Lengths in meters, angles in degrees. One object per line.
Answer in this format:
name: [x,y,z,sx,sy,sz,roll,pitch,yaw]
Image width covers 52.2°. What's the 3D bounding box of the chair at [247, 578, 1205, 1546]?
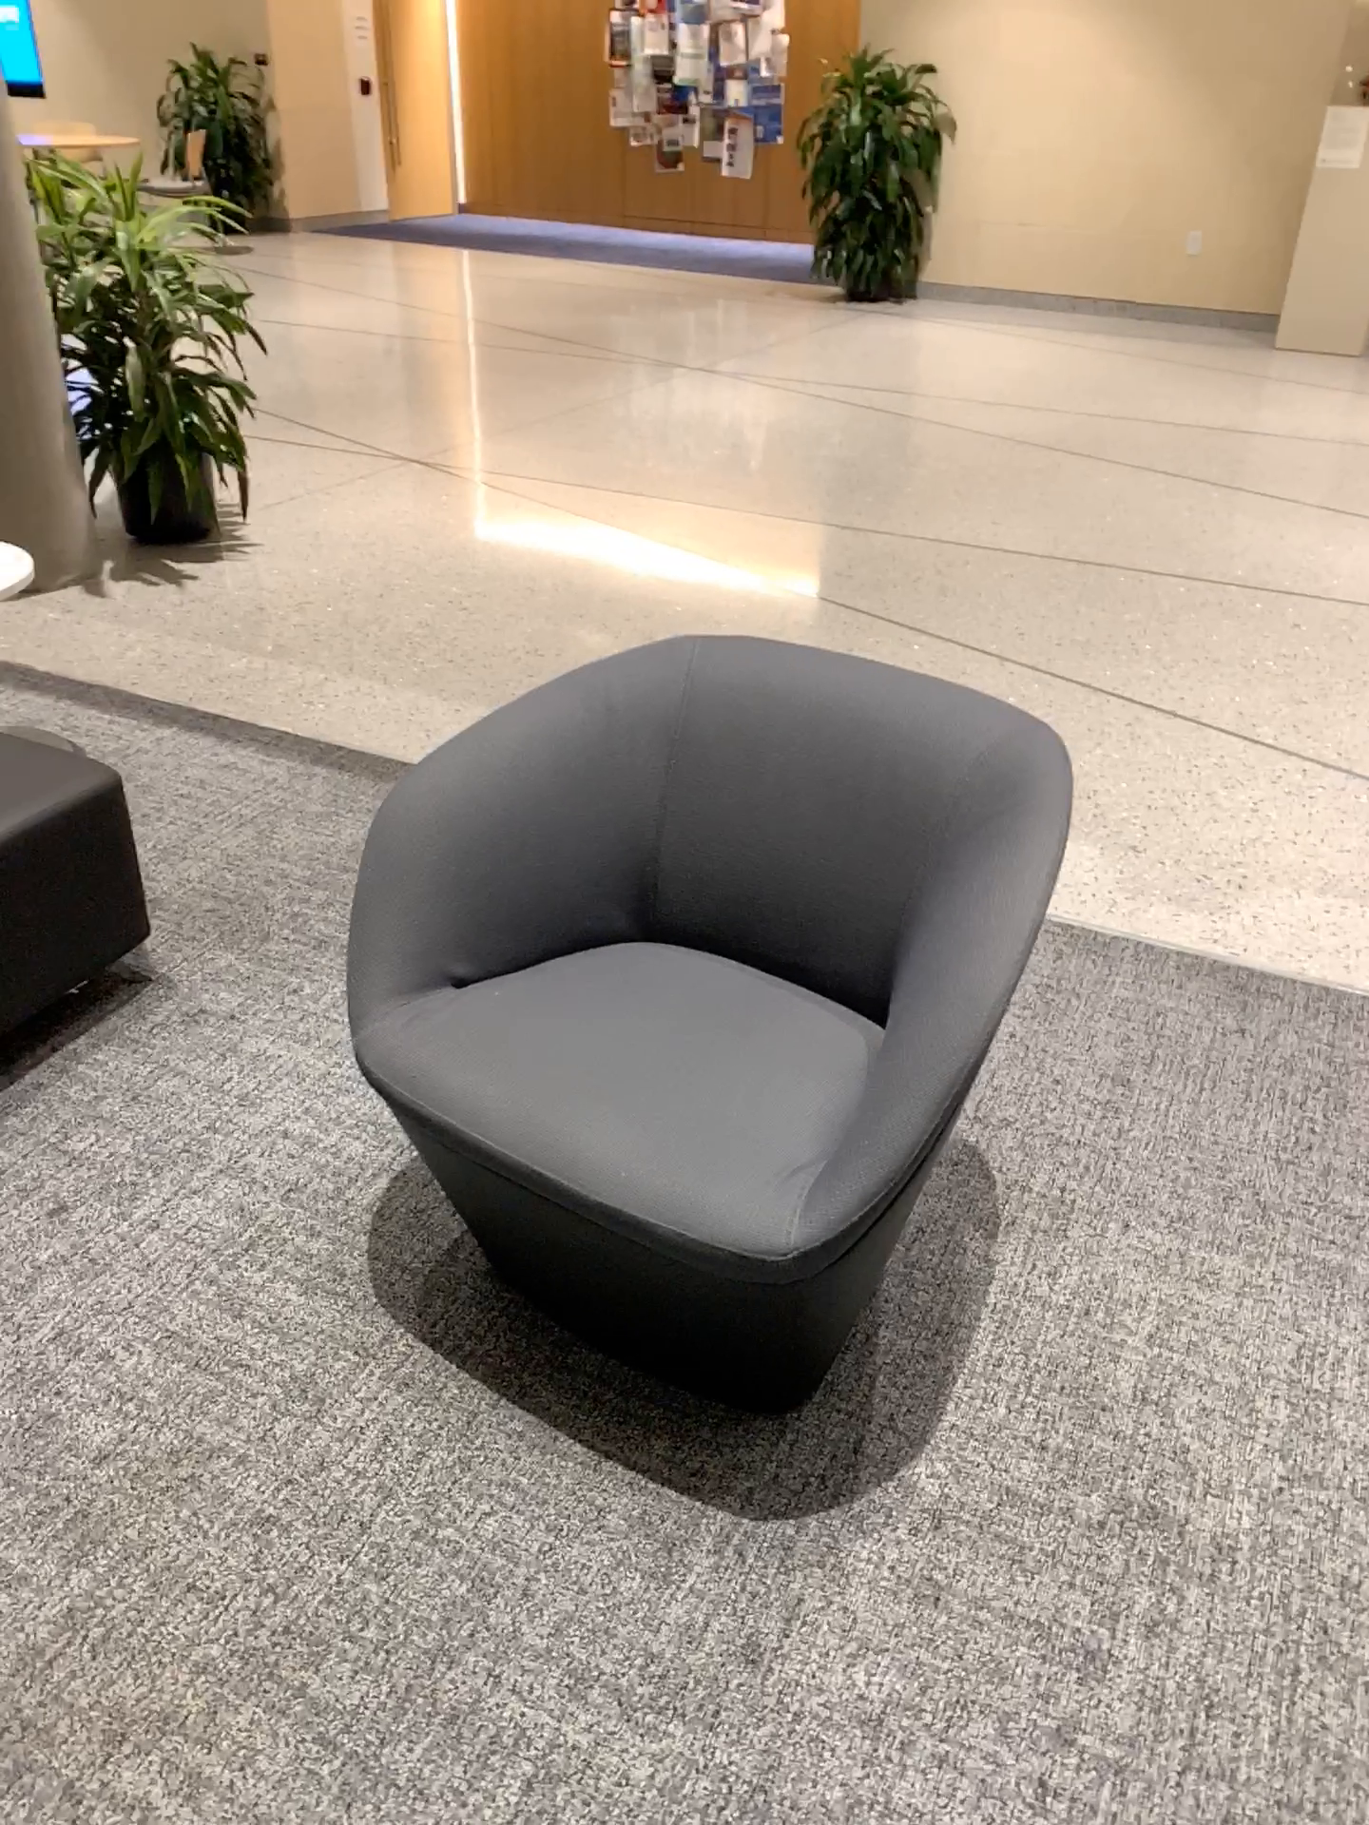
chair: [0.057,0.090,1.613,0.780,0.658,0.635,19,35,26]
